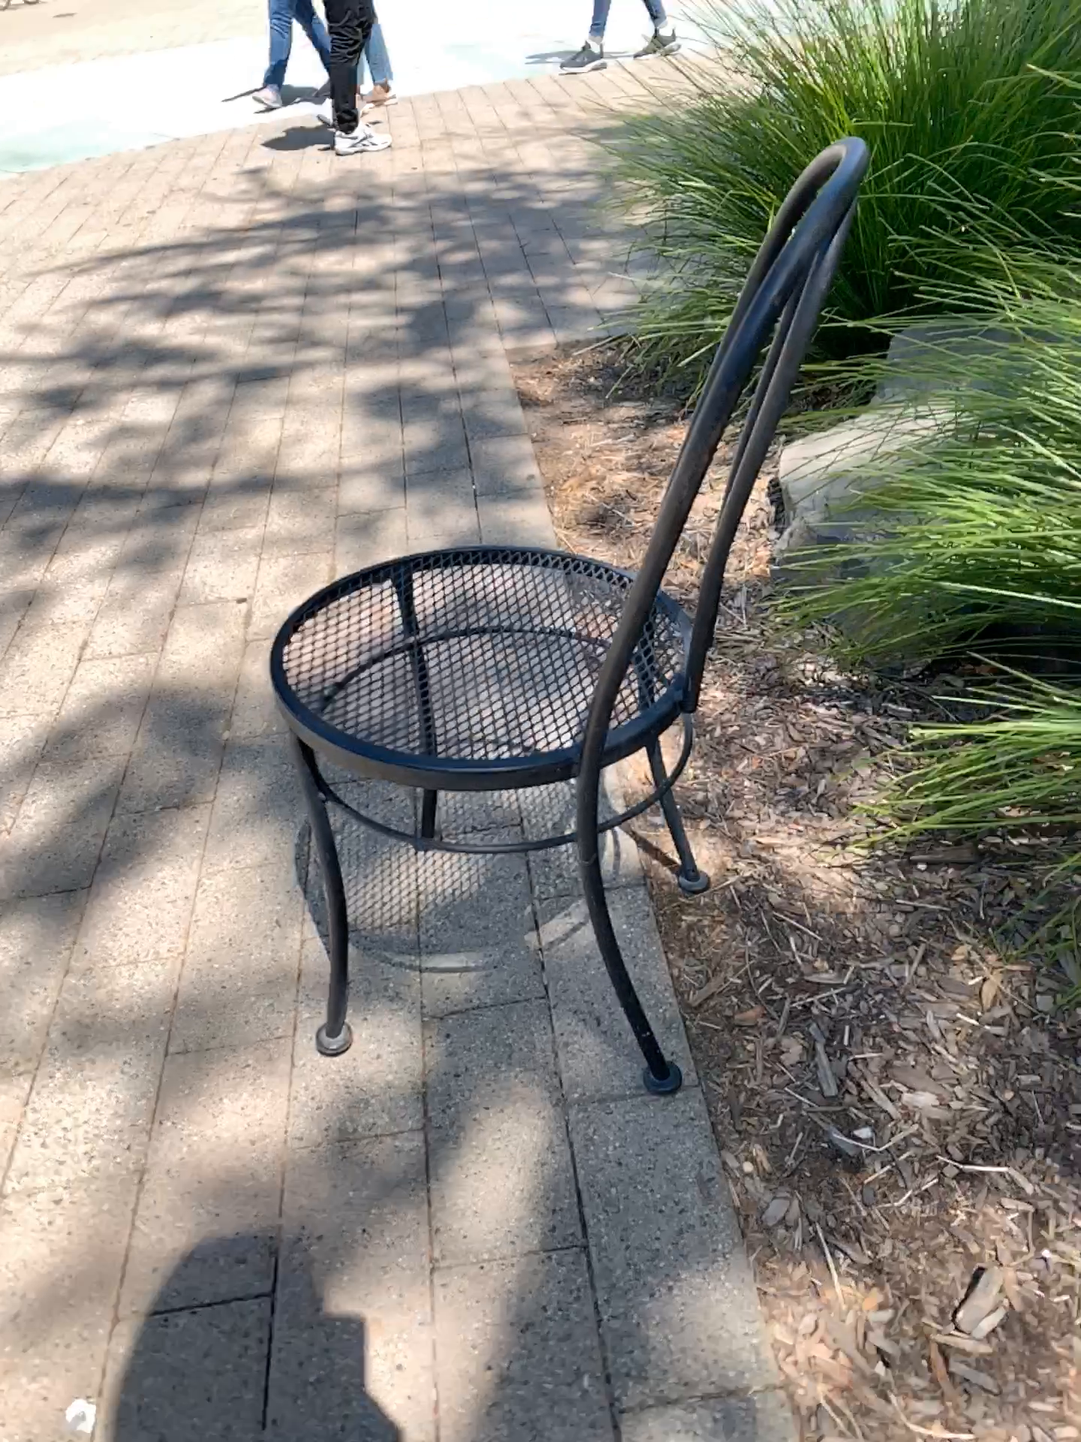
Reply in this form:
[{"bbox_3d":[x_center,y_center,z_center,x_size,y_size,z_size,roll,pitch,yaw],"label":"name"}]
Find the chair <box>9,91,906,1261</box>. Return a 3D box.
[{"bbox_3d":[0.023,0.001,1.095,0.532,0.997,0.460,5,38,14],"label":"chair"}]
